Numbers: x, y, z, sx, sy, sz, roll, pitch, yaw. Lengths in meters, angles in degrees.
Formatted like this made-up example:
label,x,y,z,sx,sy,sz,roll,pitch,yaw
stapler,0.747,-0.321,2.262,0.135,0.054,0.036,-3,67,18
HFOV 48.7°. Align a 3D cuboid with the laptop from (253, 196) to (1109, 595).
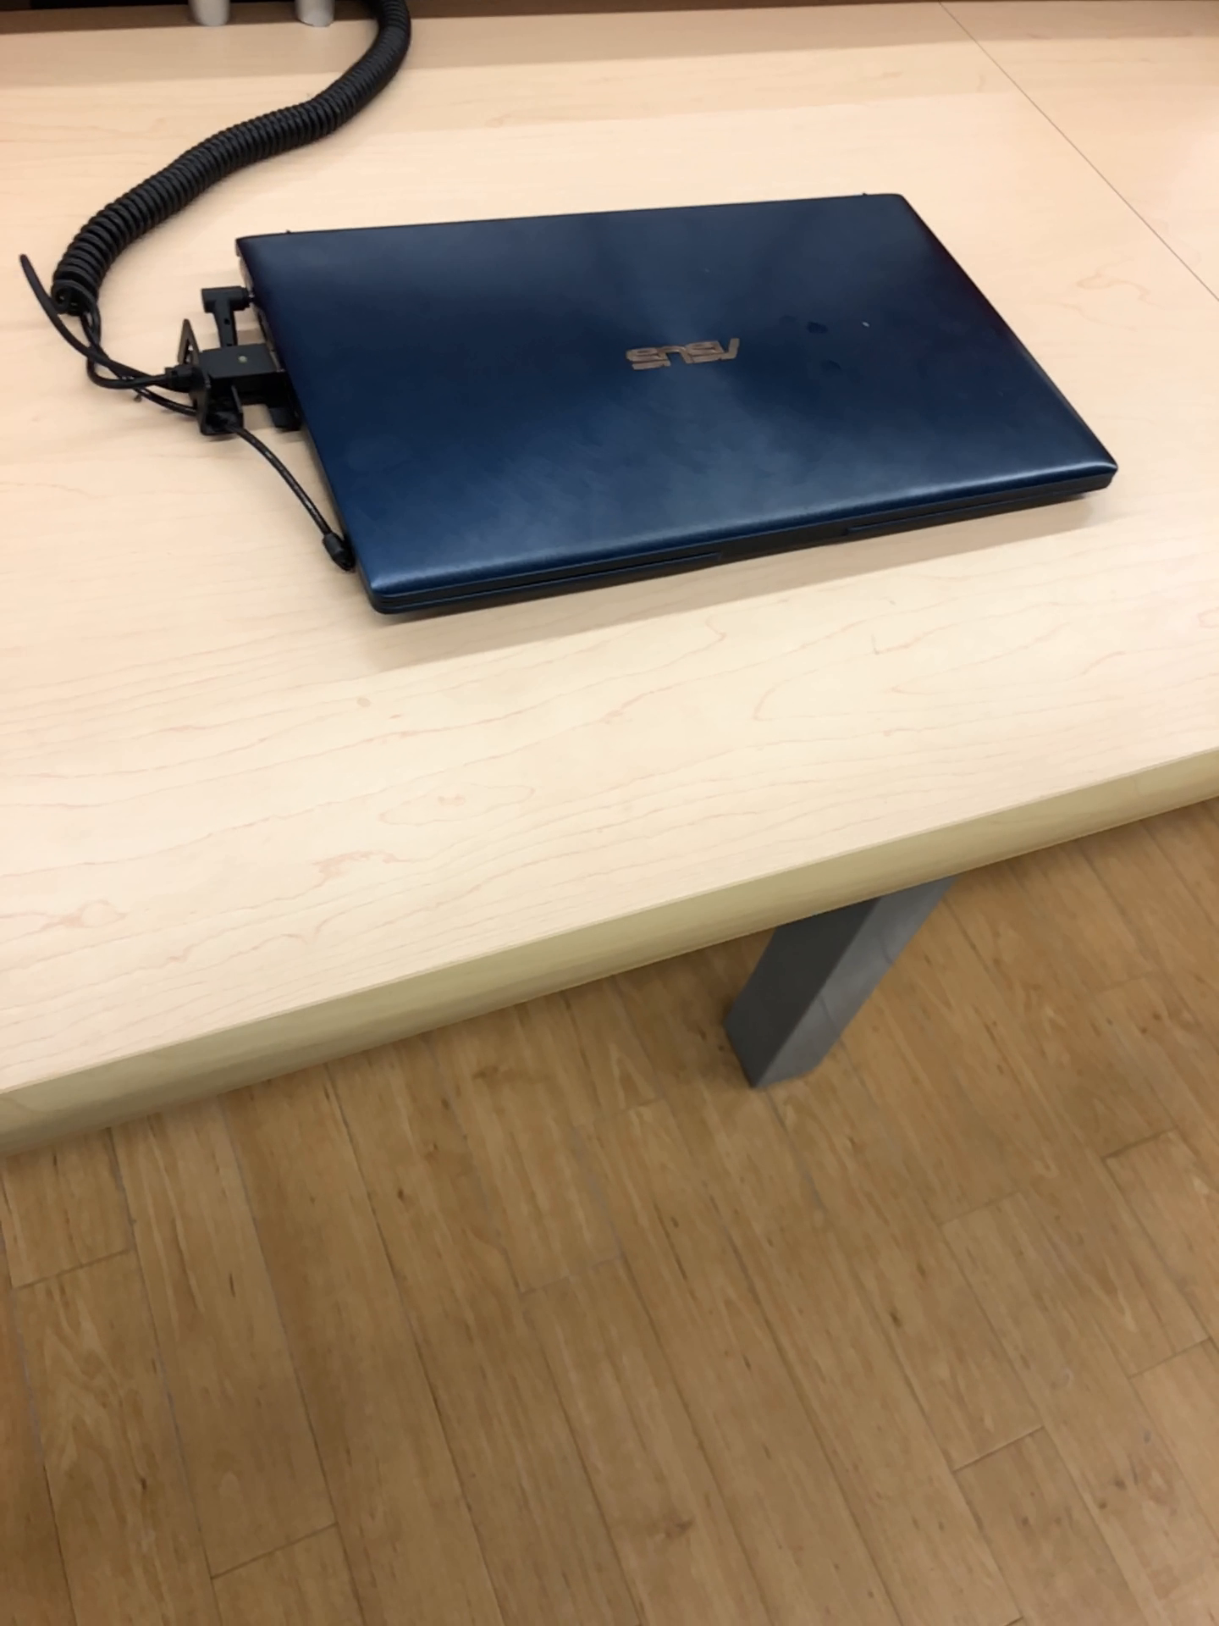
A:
label,x,y,z,sx,sy,sz,roll,pitch,yaw
laptop,0.031,-0.175,0.521,0.295,0.001,0.178,-13,61,-20
